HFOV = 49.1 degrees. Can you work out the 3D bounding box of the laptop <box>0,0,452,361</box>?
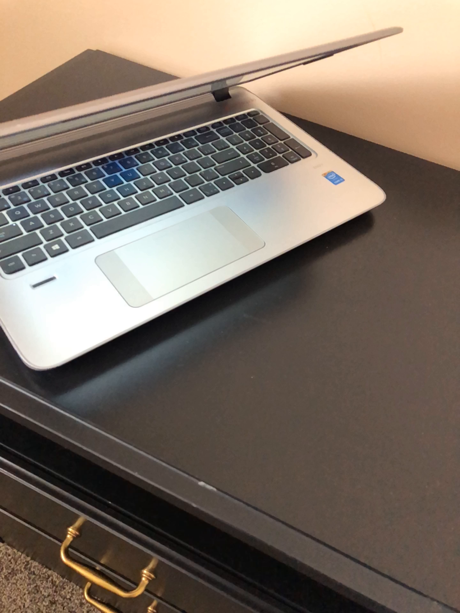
[{"bbox_3d":[-0.050,-0.156,0.420,0.356,0.153,0.228,-28,59,-27],"label":"laptop"}]
